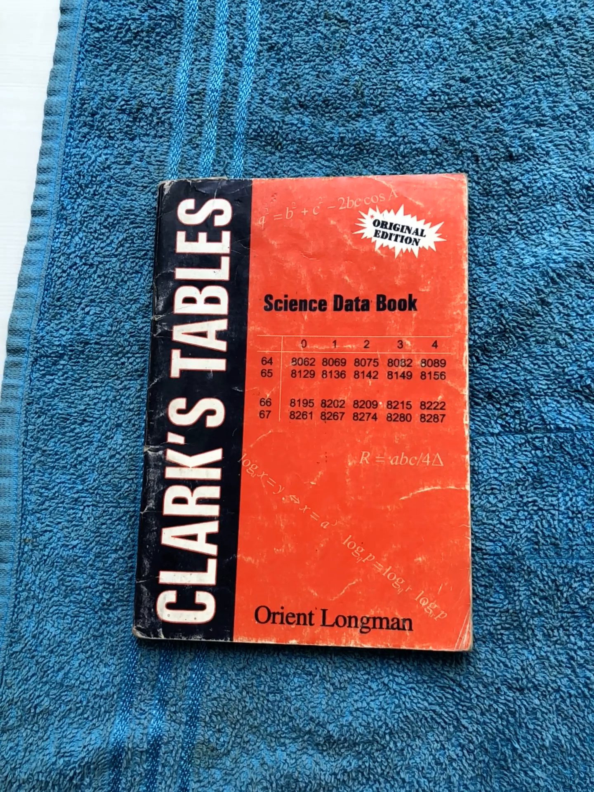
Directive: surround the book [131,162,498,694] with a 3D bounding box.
[{"bbox_3d":[0.007,0.008,0.244,0.120,0.030,0.180,1,82,4],"label":"book"}]
